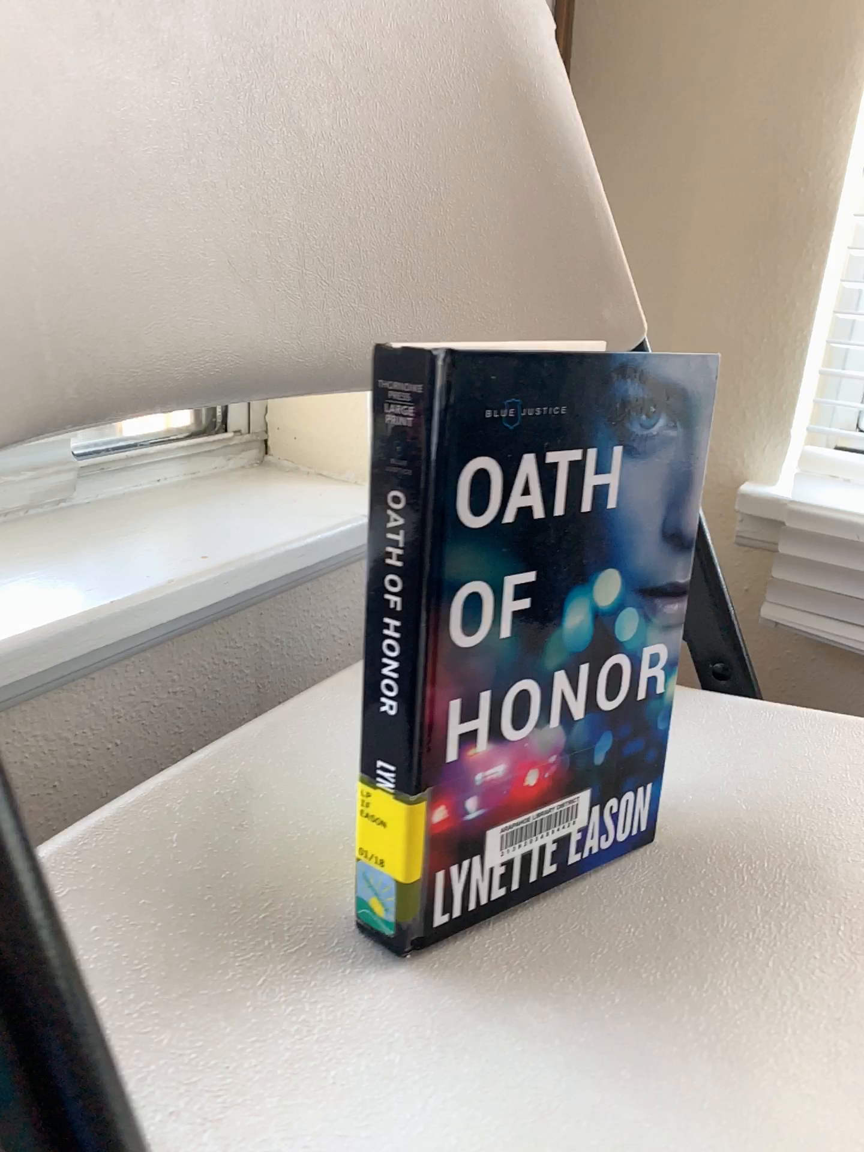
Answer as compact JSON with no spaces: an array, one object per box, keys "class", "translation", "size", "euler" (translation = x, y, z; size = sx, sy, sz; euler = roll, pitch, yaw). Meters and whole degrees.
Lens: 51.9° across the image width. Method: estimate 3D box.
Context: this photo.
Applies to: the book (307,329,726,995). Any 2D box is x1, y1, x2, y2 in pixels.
[{"class":"book","translation":[0.034,0.018,0.347],"size":[0.155,0.217,0.063],"euler":[-13,21,-42]}]
